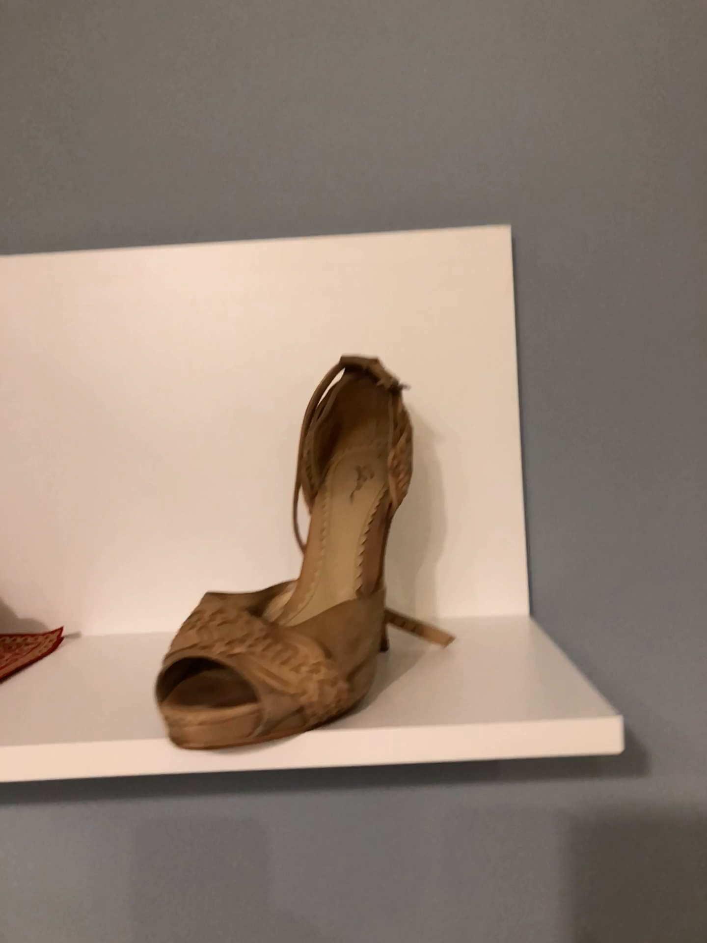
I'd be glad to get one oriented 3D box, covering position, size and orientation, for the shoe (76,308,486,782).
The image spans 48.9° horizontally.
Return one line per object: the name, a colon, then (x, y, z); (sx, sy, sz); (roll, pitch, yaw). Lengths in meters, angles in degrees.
shoe: (-0.022, 0.025, 0.410); (0.100, 0.180, 0.210); (-2, 1, 32)
